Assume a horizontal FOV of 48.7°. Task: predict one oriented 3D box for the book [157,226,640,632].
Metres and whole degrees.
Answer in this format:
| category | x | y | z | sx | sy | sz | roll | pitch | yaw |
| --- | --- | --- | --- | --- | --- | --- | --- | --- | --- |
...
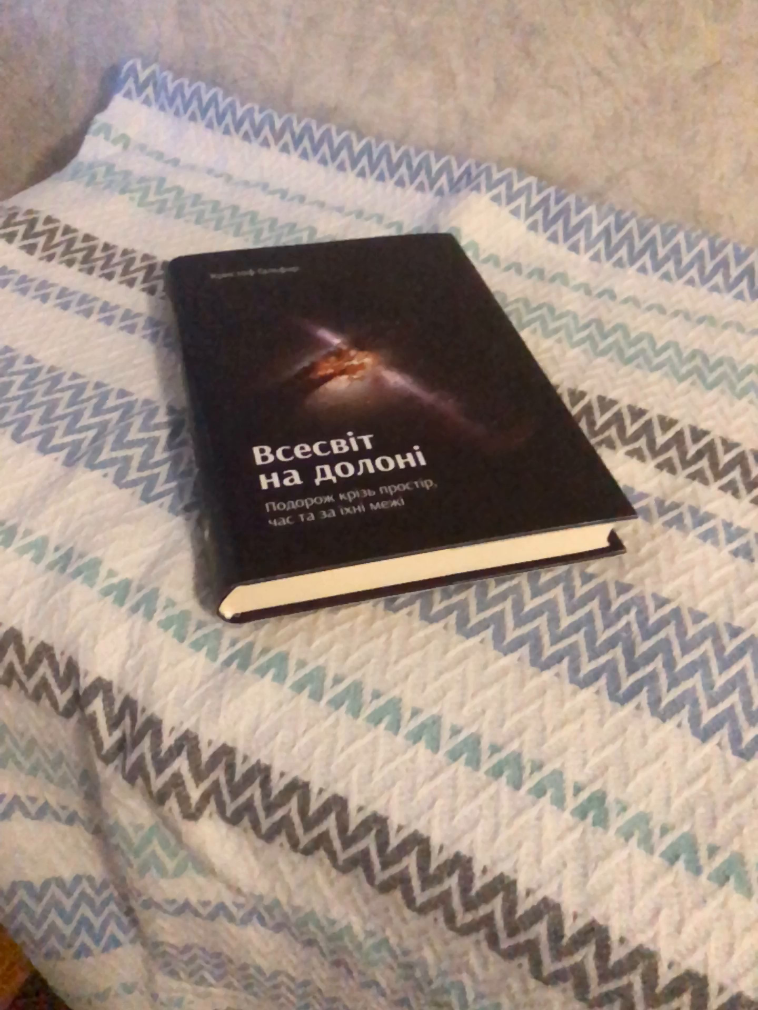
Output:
| category | x | y | z | sx | sy | sz | roll | pitch | yaw |
| --- | --- | --- | --- | --- | --- | --- | --- | --- | --- |
| book | -0.009 | -0.055 | 0.387 | 0.161 | 0.030 | 0.226 | -9 | 47 | -13 |
